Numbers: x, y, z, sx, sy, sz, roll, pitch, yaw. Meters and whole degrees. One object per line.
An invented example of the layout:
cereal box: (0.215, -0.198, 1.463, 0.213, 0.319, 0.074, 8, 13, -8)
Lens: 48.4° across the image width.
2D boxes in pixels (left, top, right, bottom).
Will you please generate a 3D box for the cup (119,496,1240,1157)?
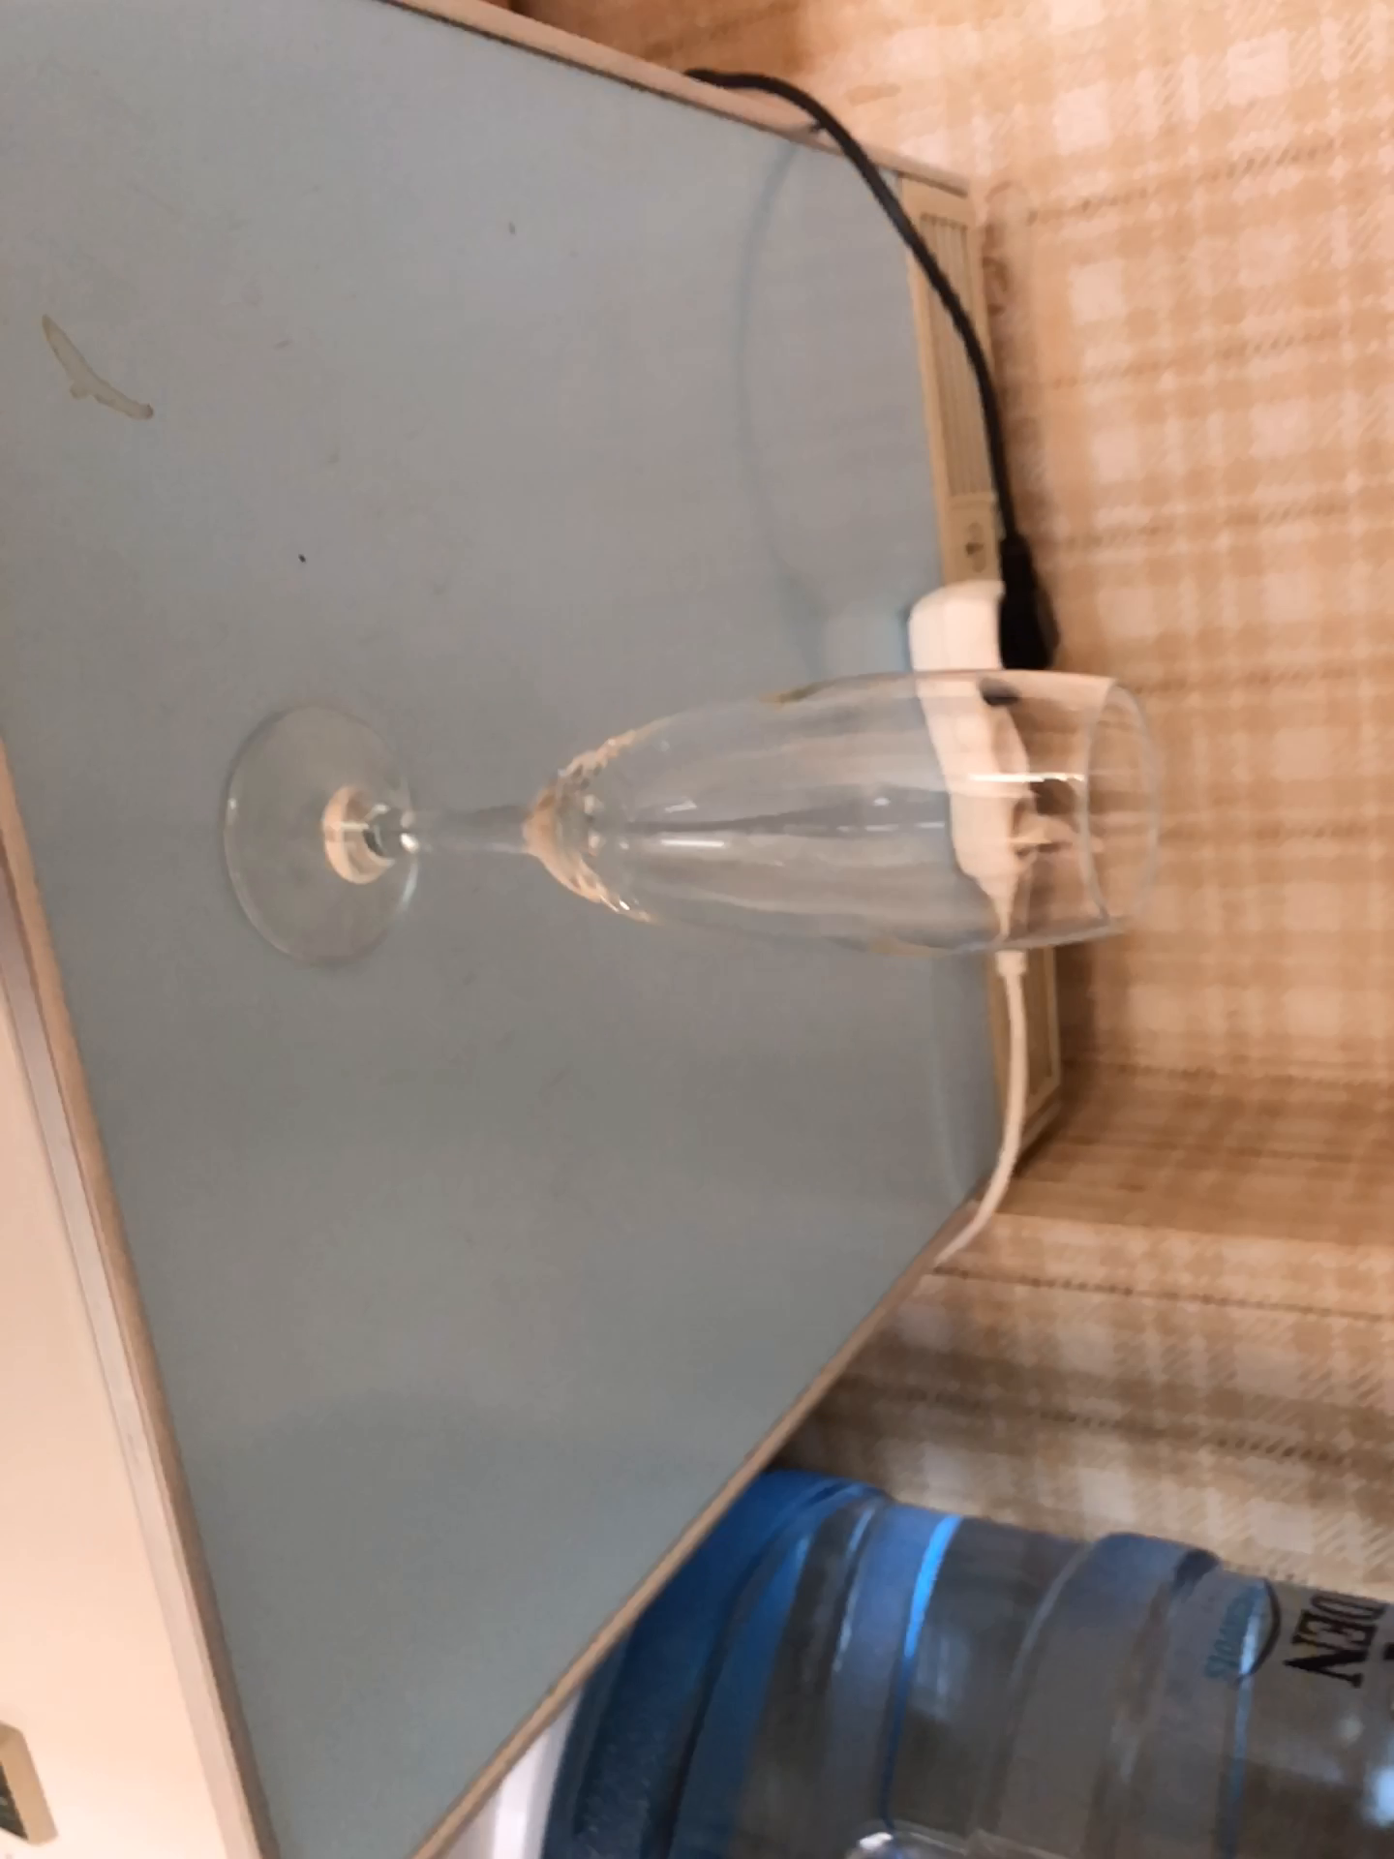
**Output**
cup: (-0.004, -0.021, 0.322, 0.091, 0.199, 0.090, 2, 87, -59)
